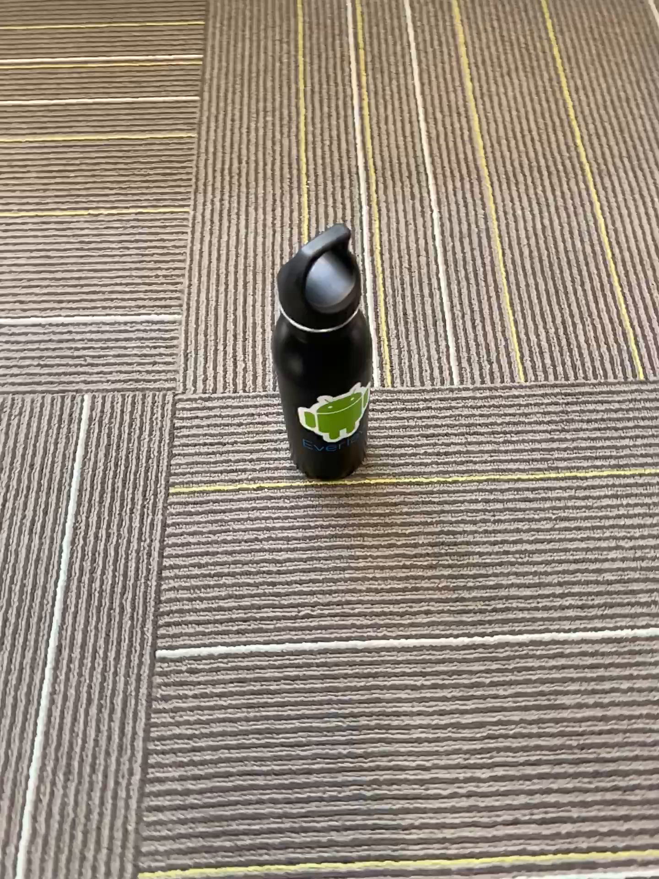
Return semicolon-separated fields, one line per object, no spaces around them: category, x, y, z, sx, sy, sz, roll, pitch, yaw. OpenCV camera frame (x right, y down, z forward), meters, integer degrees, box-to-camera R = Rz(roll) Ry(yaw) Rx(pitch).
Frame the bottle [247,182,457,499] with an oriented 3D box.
bottle;0.012;-0.050;0.477;0.090;0.239;0.080;-22;67;-9
